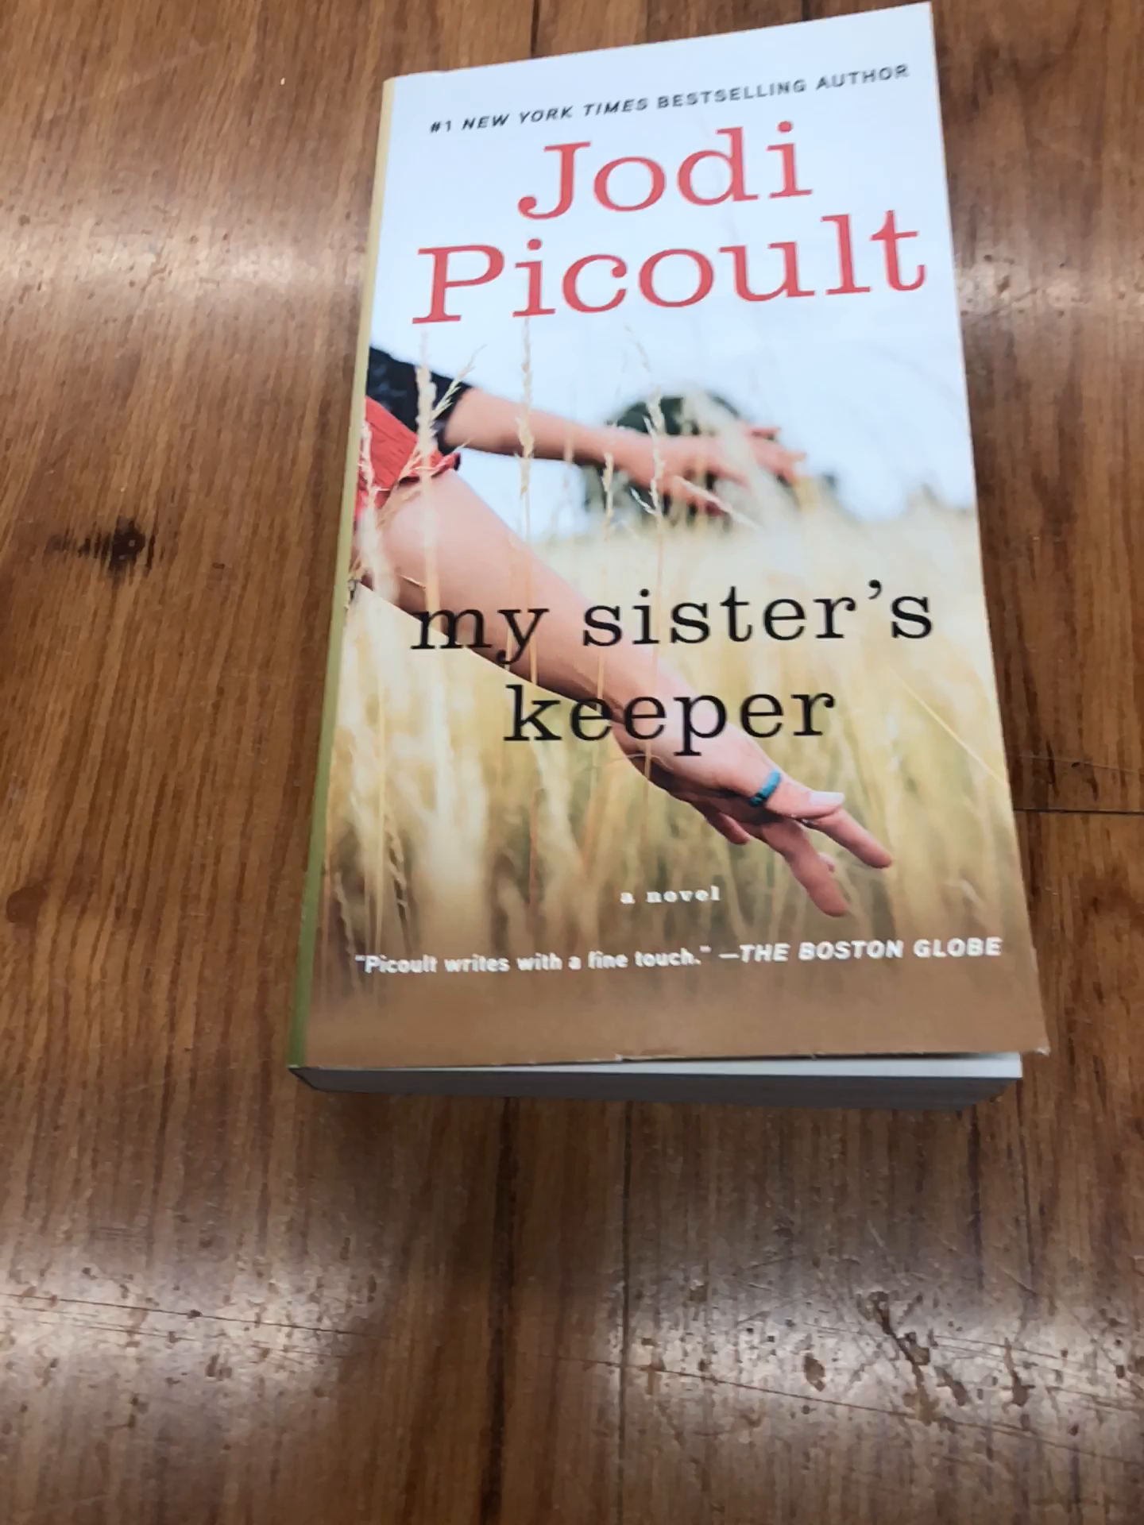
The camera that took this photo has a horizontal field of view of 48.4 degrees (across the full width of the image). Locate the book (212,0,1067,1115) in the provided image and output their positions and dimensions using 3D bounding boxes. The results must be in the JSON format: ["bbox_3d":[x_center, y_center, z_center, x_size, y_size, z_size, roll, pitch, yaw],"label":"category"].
[{"bbox_3d":[0.011,-0.042,0.216,0.110,0.040,0.191,-1,69,7],"label":"book"}]
